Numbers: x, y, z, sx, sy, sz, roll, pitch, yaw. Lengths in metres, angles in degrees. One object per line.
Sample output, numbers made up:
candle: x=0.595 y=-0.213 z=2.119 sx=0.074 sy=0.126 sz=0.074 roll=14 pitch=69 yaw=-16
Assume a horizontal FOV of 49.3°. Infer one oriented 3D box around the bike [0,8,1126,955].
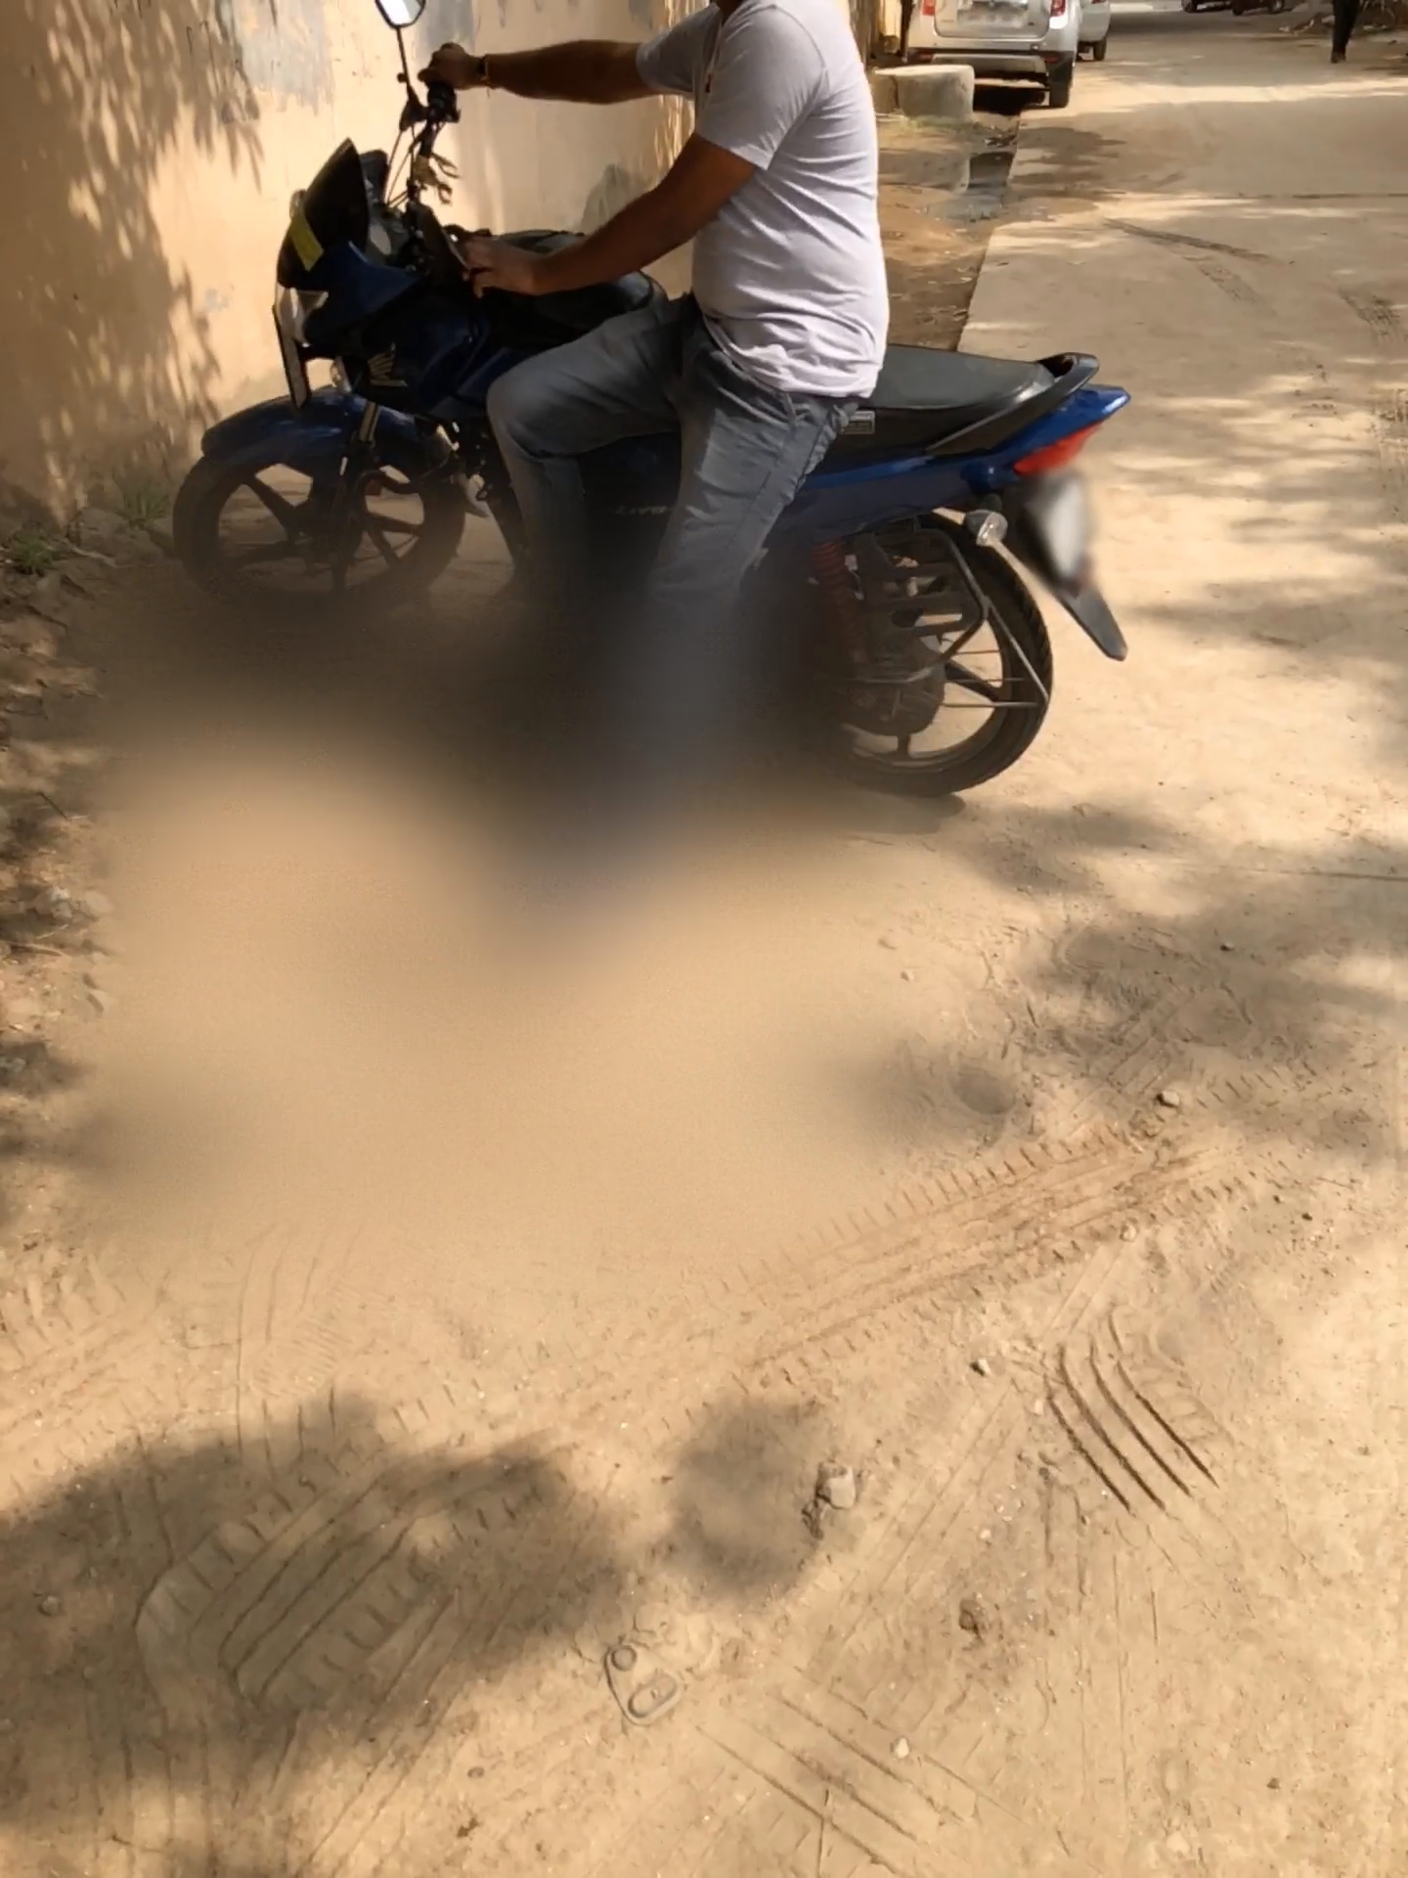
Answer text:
bike: x=-0.297 y=-0.885 z=2.736 sx=1.783 sy=1.241 sz=0.744 roll=13 pitch=35 yaw=19
